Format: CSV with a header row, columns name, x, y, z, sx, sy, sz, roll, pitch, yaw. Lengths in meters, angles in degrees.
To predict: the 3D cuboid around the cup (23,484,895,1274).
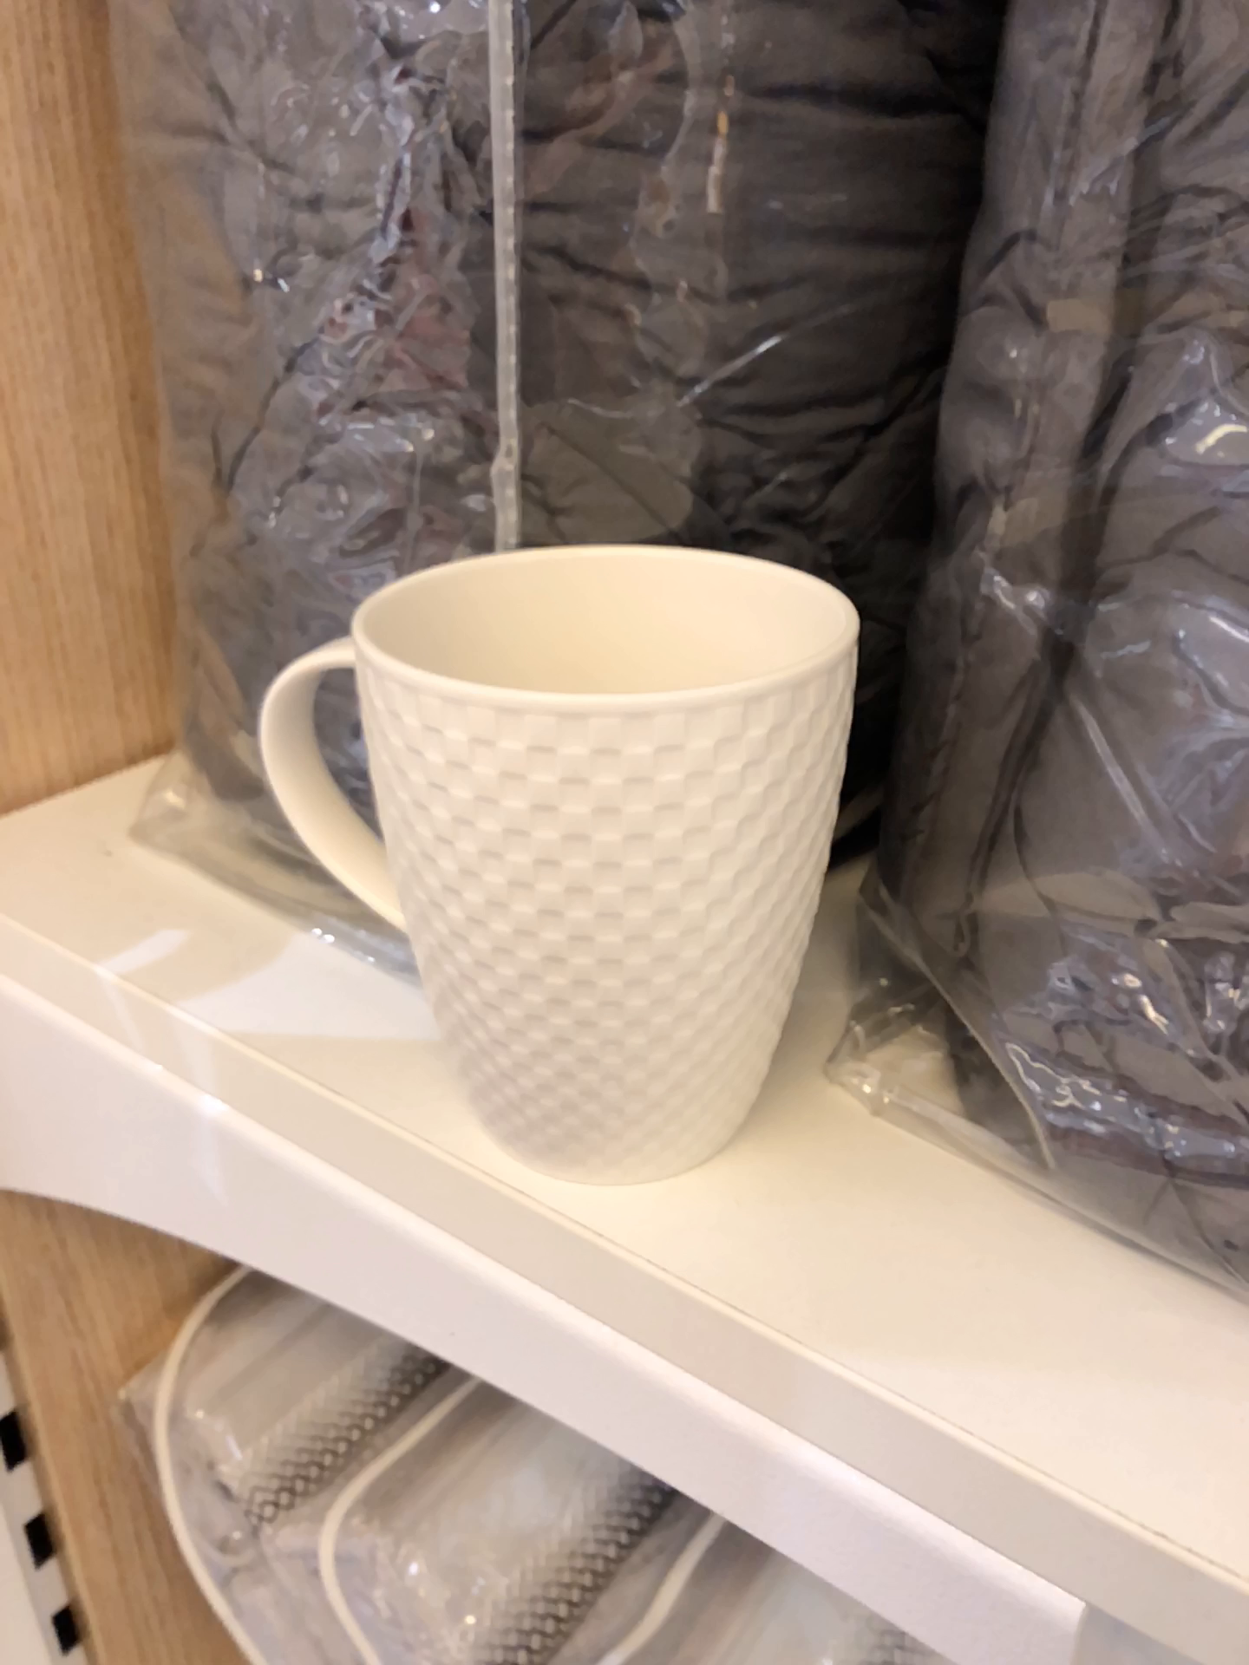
name,x,y,z,sx,sy,sz,roll,pitch,yaw
cup,-0.020,0.000,0.235,0.110,0.089,0.081,8,28,16
